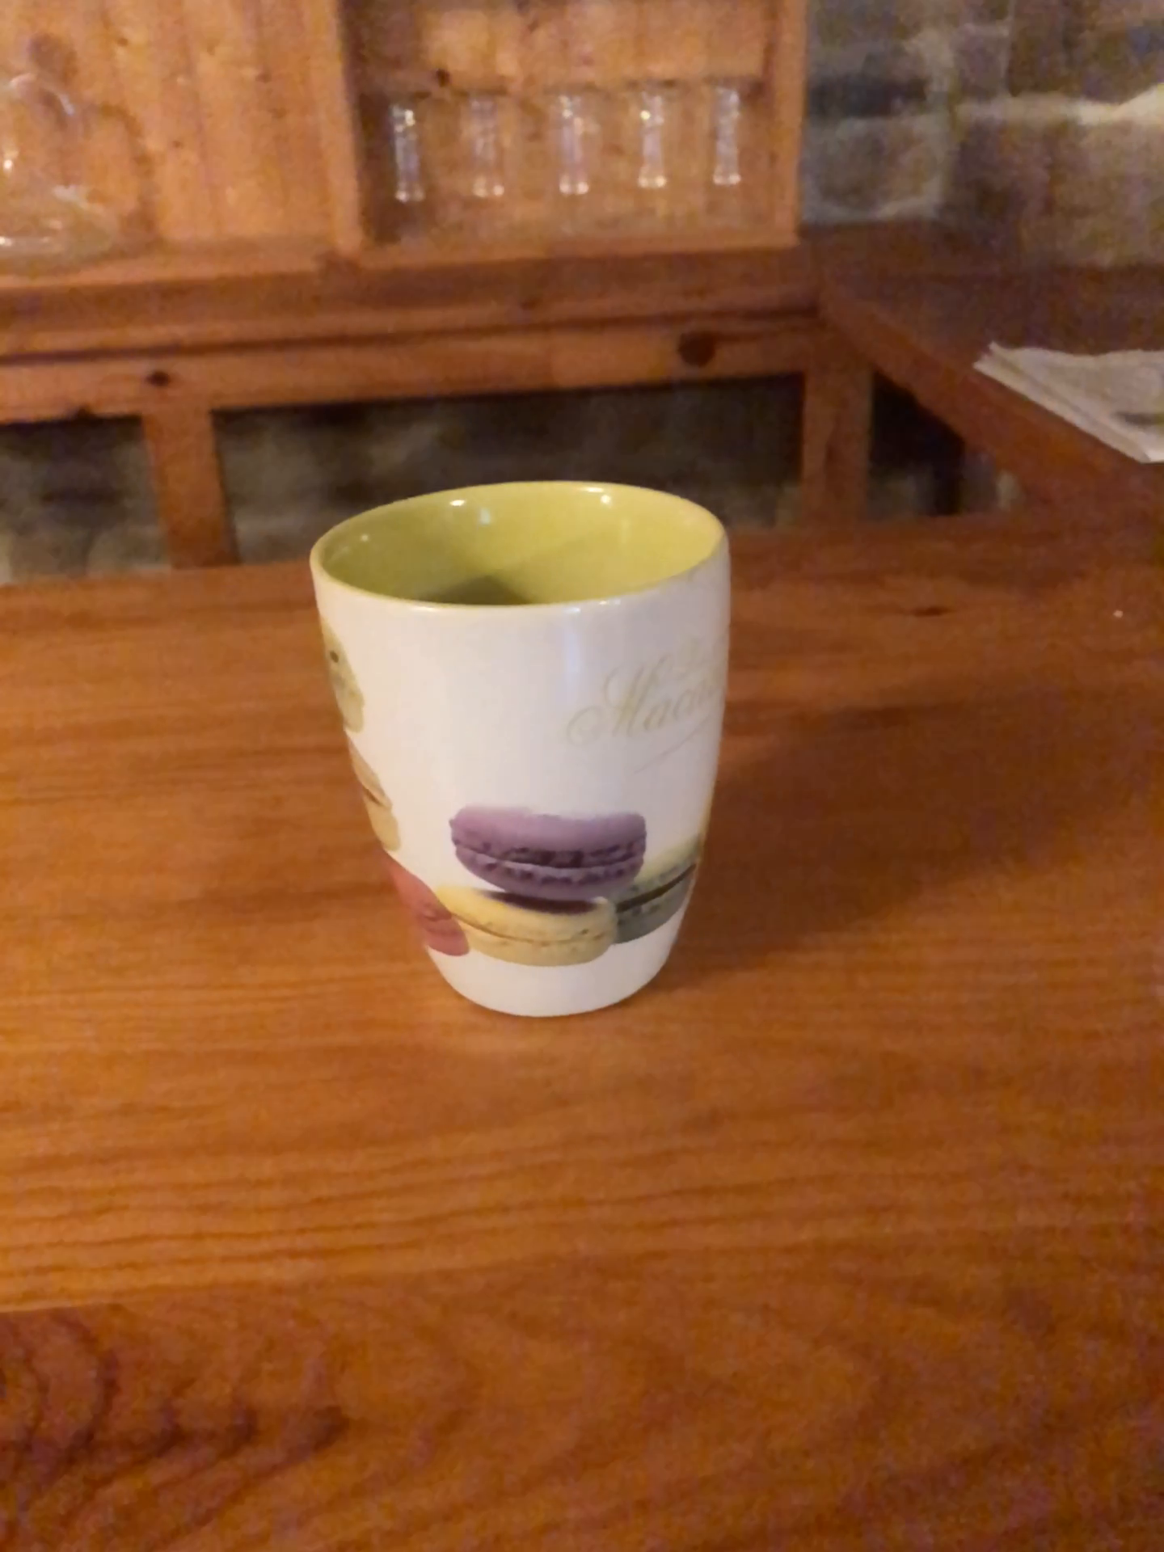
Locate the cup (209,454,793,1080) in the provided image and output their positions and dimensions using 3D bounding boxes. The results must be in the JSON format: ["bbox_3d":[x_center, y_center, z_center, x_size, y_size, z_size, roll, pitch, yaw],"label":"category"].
[{"bbox_3d":[-0.008,-0.012,0.313,0.097,0.099,0.121,6,28,15],"label":"cup"}]
